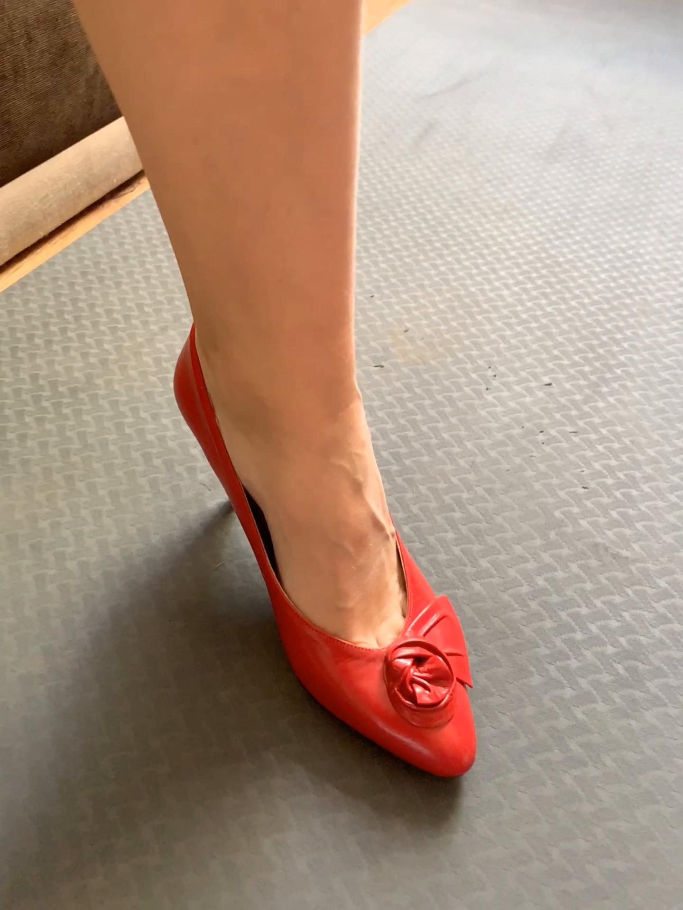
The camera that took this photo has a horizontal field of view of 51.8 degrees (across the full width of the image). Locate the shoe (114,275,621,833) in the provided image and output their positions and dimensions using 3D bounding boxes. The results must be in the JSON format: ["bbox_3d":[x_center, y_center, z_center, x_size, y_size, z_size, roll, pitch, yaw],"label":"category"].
[{"bbox_3d":[-0.006,0.031,0.308,0.080,0.109,0.211,-28,54,-25],"label":"shoe"}]
